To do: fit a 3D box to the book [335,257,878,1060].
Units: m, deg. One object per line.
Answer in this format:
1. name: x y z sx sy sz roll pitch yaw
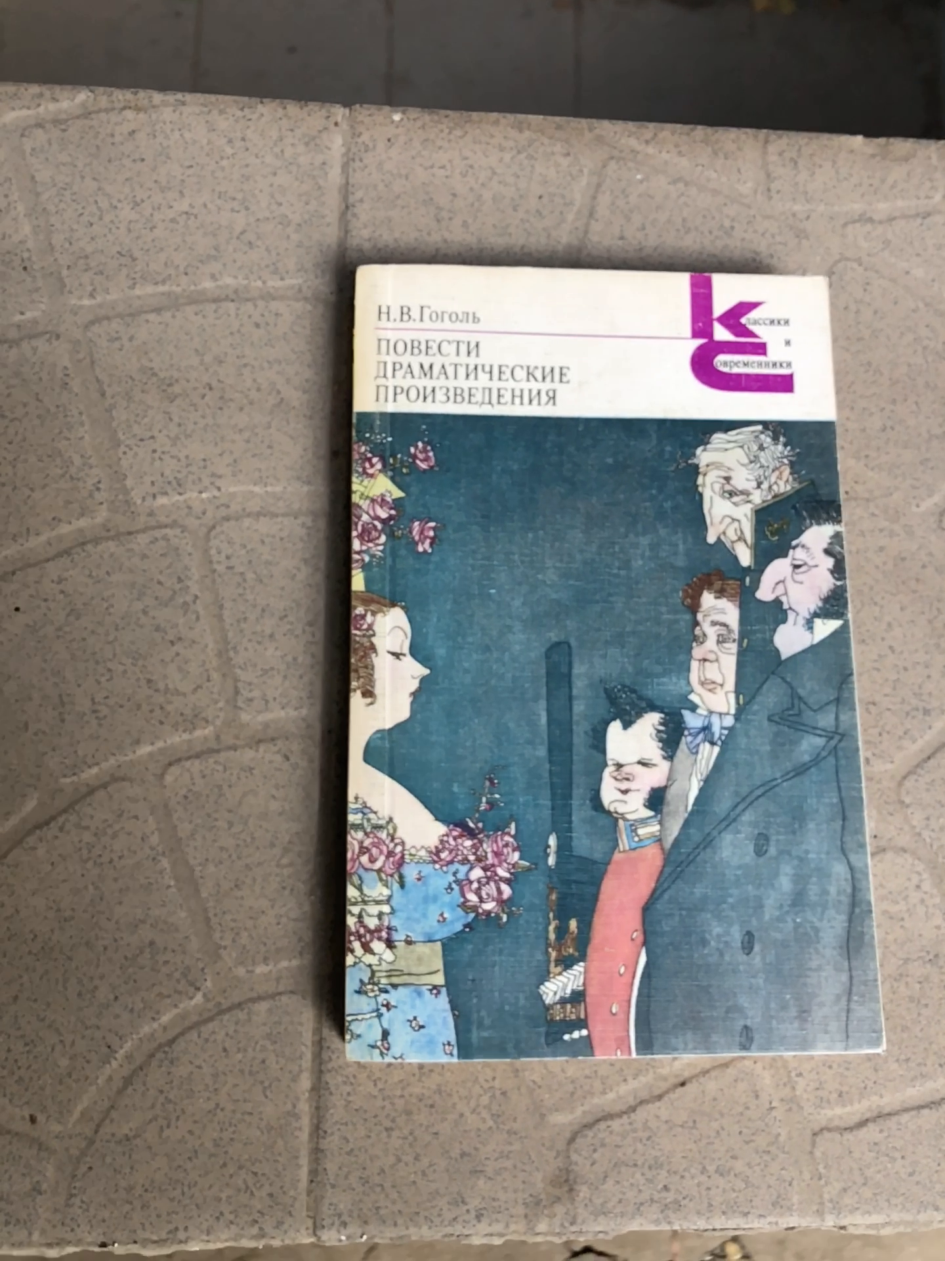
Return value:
1. book: 0.031 0.003 0.265 0.123 0.021 0.193 1 80 -3
